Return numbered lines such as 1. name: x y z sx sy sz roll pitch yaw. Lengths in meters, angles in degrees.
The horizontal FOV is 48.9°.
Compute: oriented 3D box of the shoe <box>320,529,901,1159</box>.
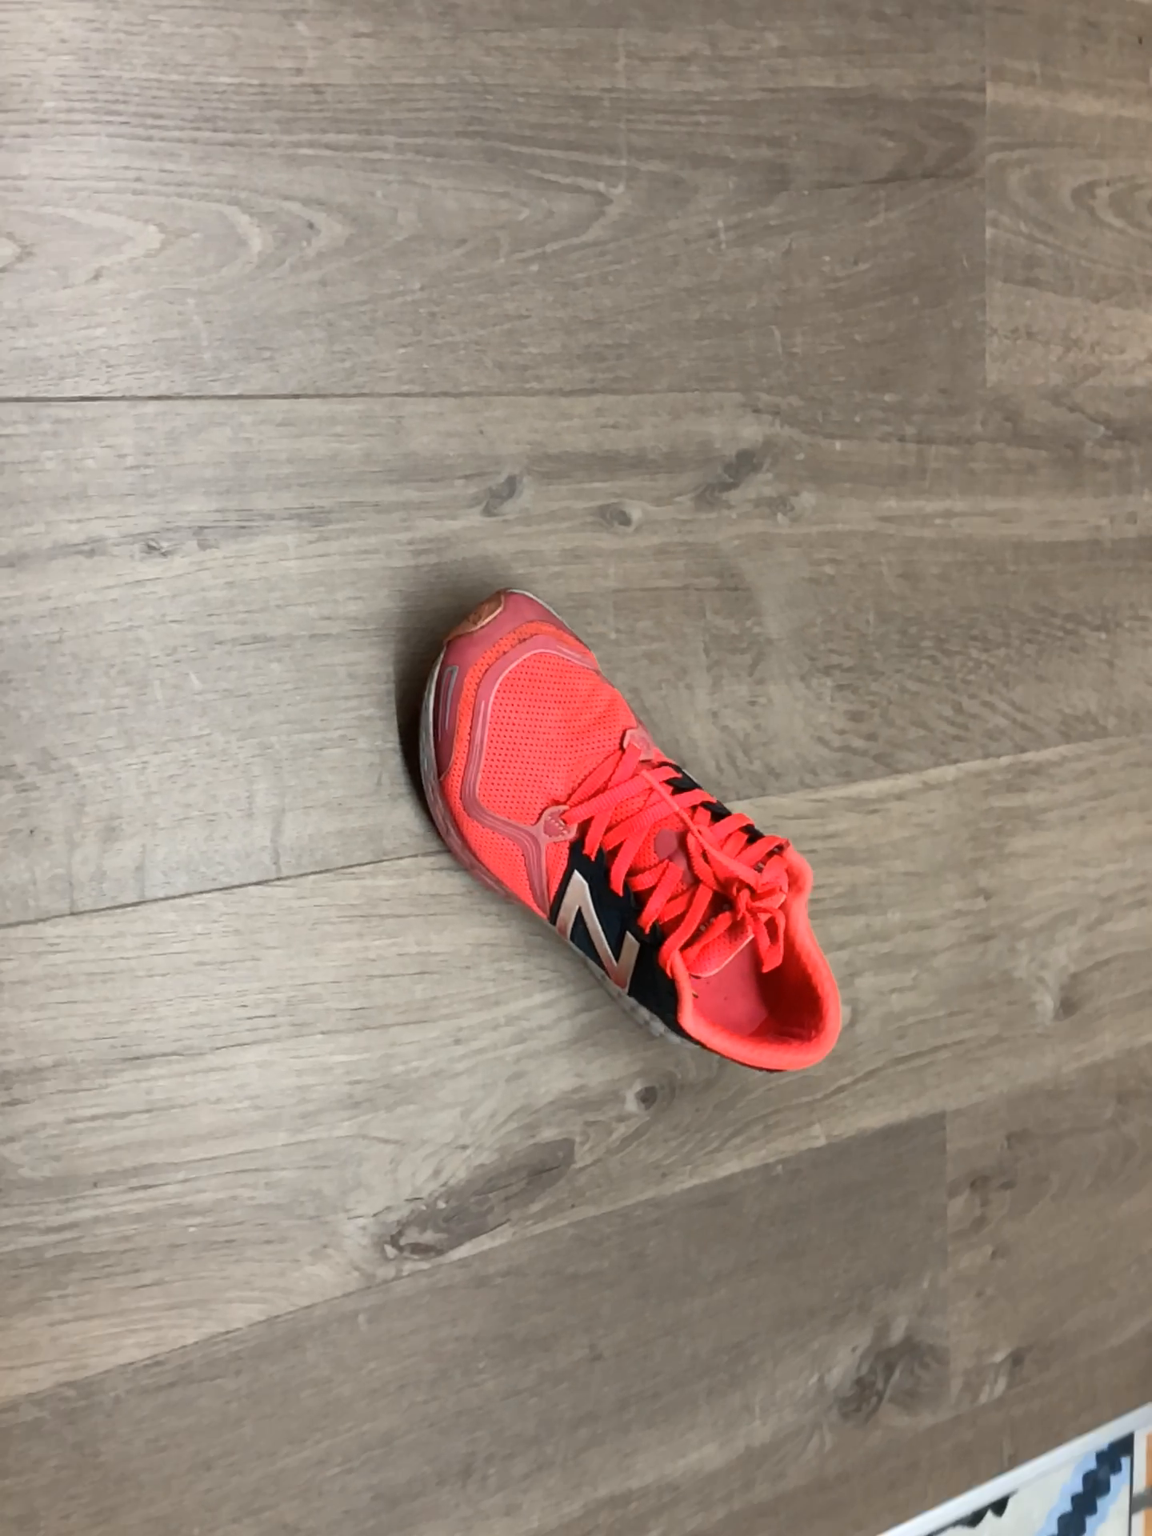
1. shoe: 0.016 0.030 0.538 0.100 0.110 0.240 -40 112 -15
